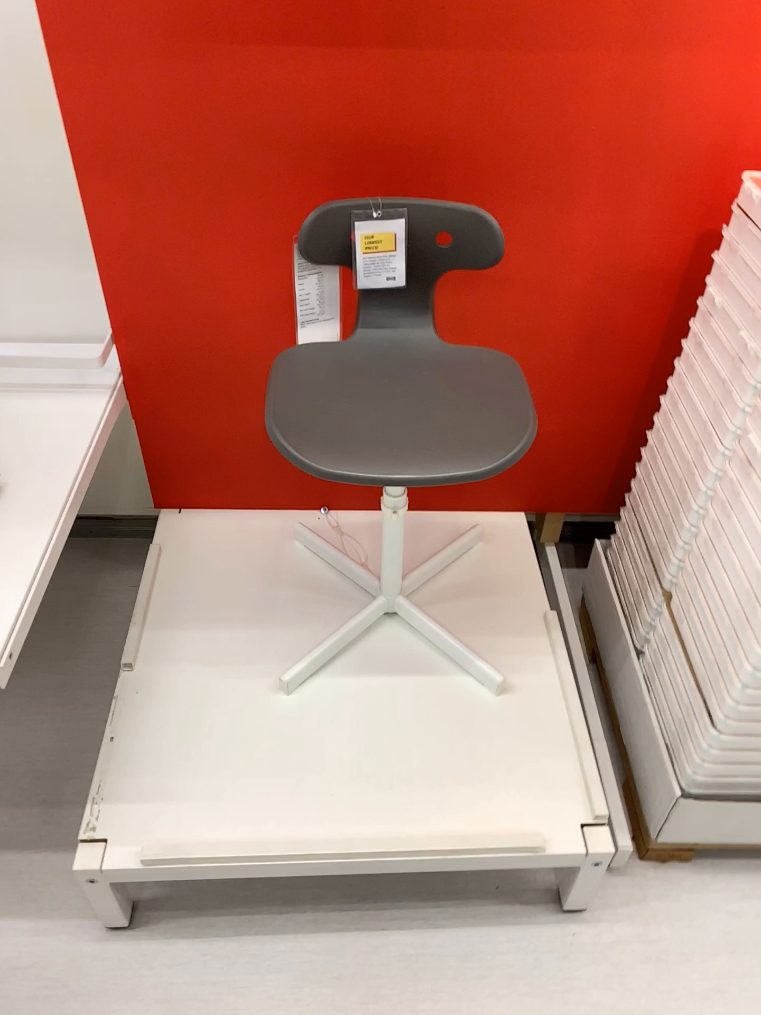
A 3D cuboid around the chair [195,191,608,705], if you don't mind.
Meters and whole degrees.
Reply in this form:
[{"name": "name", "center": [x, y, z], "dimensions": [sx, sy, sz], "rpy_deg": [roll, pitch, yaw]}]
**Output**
[{"name": "chair", "center": [0.011, -0.075, 1.259], "dimensions": [0.460, 0.697, 0.452], "rpy_deg": [0, 42, -2]}]
